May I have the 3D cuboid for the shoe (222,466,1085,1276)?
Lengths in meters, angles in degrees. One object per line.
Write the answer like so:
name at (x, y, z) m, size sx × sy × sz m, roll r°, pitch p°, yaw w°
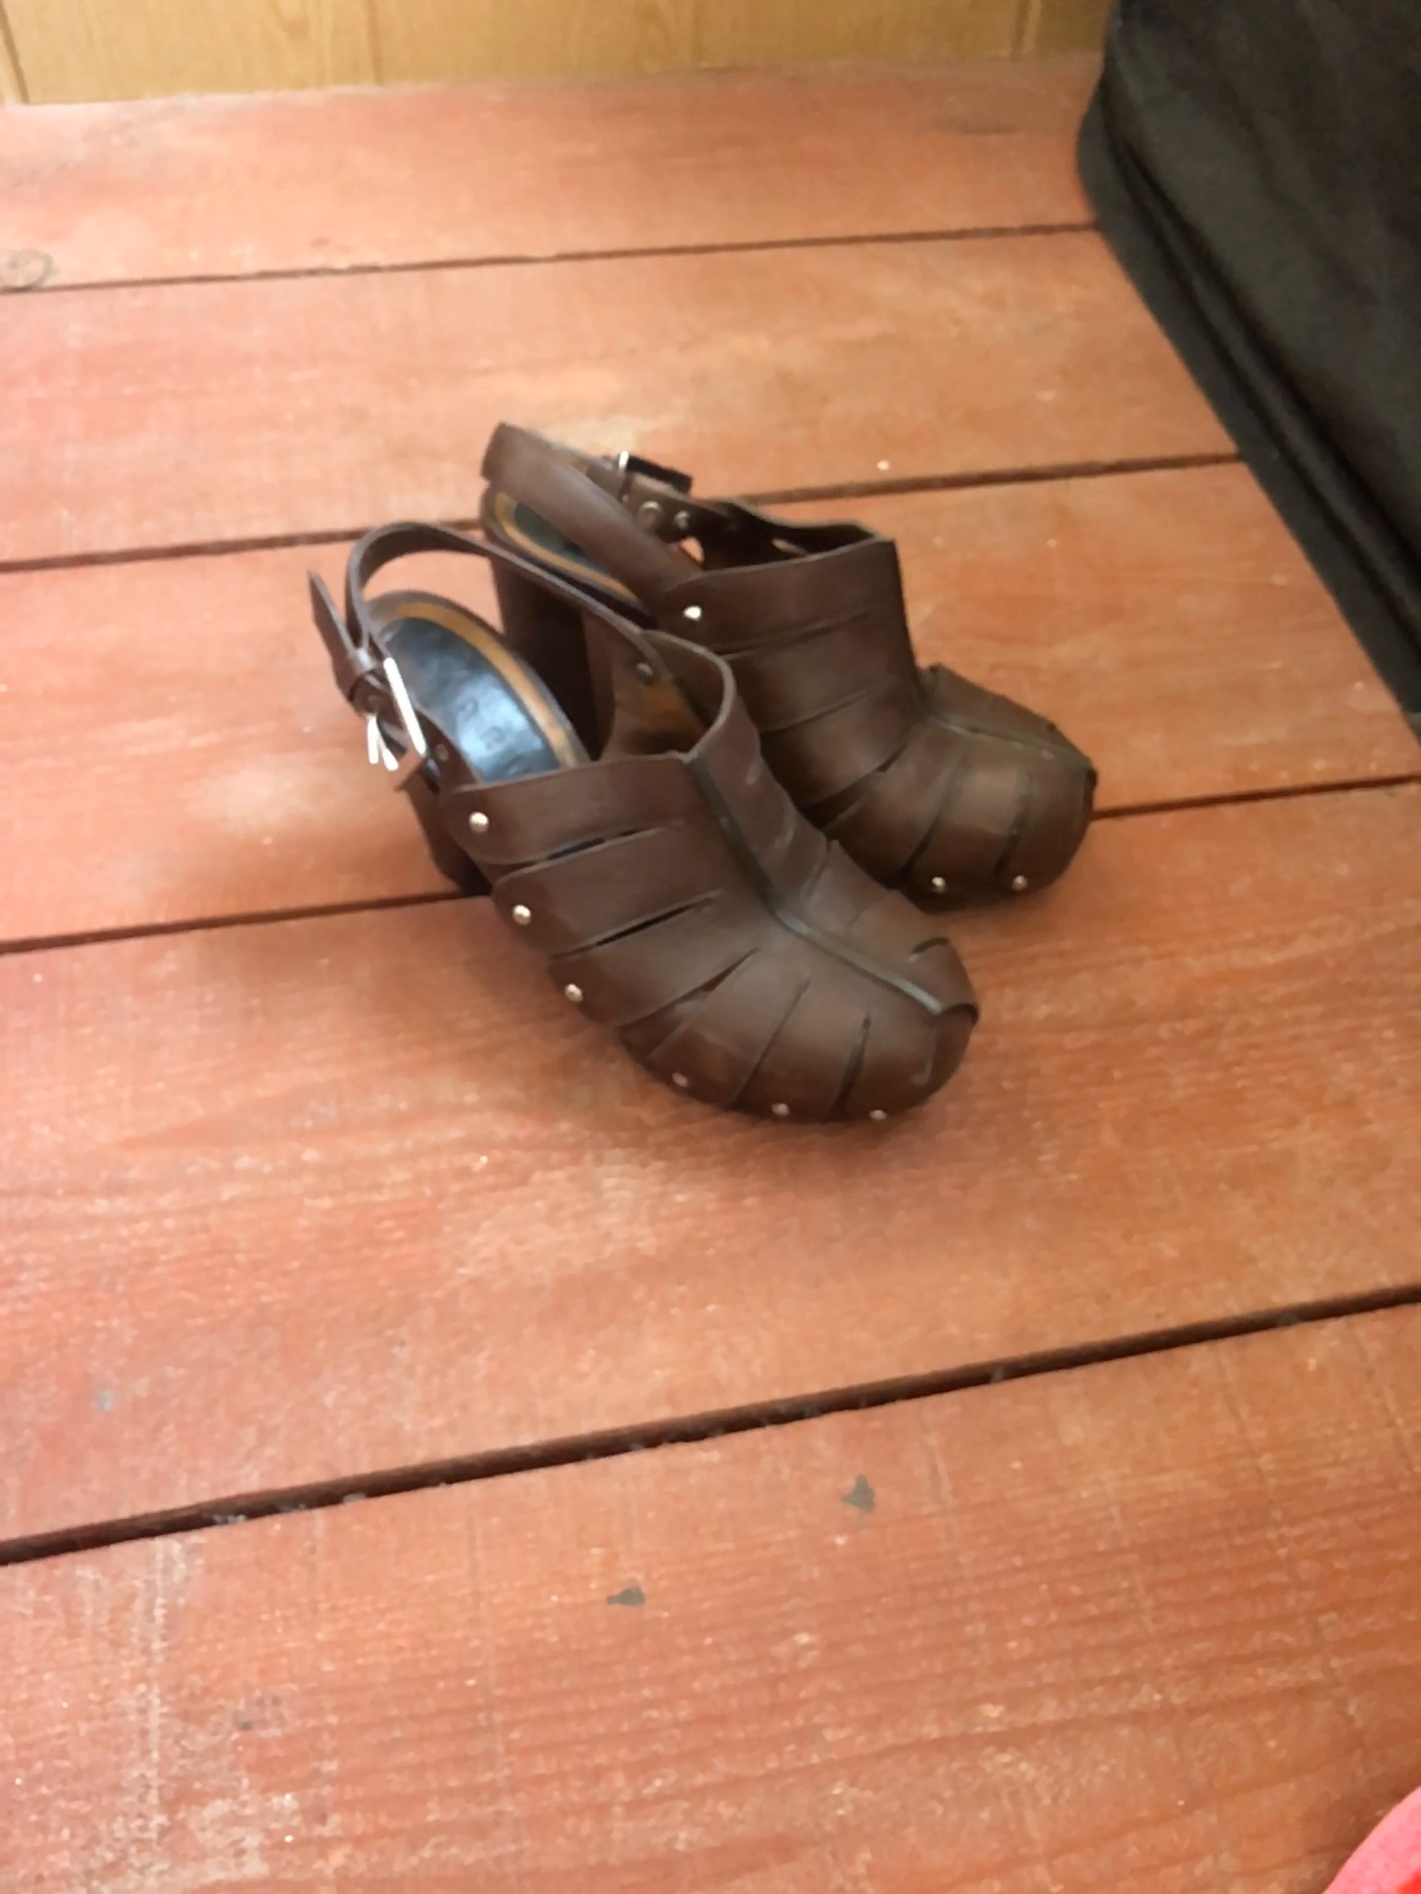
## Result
shoe at (-0.021, -0.023, 0.443) m, size 0.210 × 0.120 × 0.080 m, roll 32°, pitch 59°, yaw 19°

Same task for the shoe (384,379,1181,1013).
shoe at (0.018, -0.076, 0.479) m, size 0.210 × 0.110 × 0.080 m, roll 18°, pitch 42°, yaw 5°
